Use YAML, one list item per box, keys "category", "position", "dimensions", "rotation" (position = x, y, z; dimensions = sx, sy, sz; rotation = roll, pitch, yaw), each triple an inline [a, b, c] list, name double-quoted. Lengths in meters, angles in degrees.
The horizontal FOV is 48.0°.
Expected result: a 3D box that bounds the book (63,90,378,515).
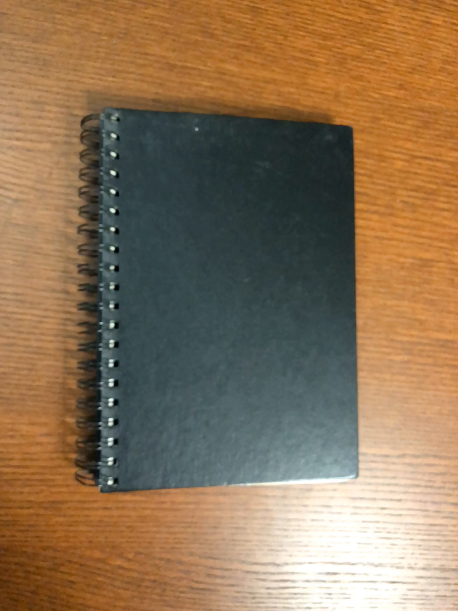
- category: "book"
  position: [-0.005, -0.005, 0.345]
  dimensions: [0.200, 0.030, 0.260]
  rotation: [0, 87, -9]
